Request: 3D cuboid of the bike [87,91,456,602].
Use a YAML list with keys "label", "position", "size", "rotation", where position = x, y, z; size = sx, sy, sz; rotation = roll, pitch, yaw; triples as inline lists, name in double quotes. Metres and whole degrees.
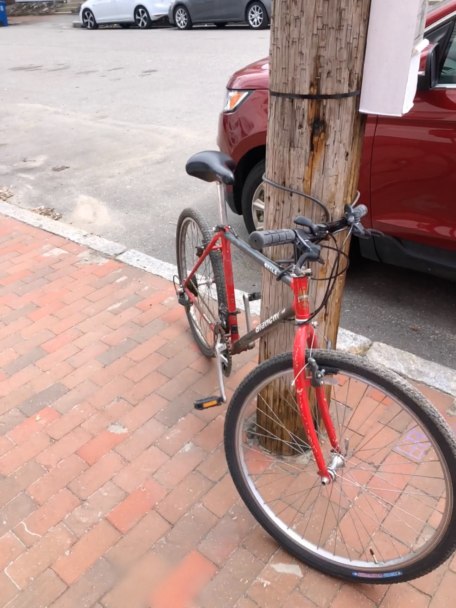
- label: "bike"
  position: [0.129, -0.078, 1.612]
  size: [0.581, 0.983, 1.533]
  rotation: [-18, 33, -22]
